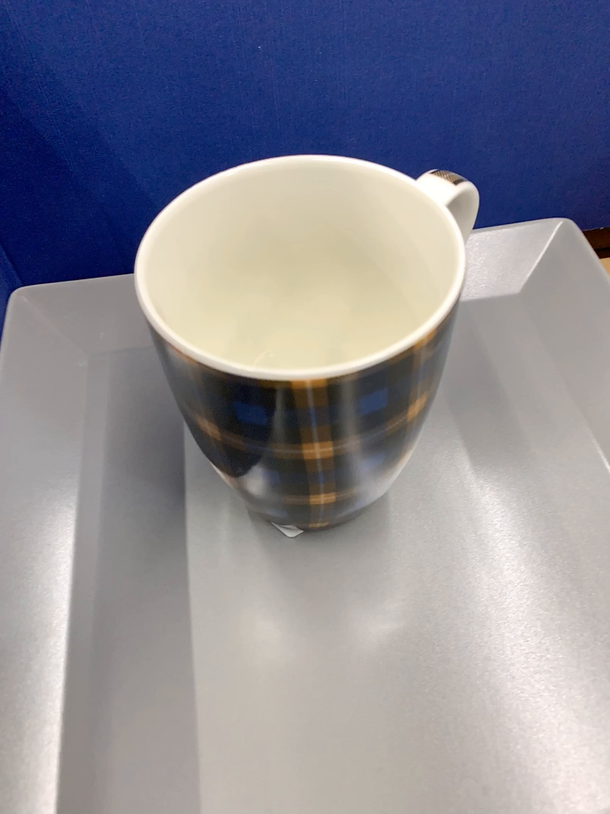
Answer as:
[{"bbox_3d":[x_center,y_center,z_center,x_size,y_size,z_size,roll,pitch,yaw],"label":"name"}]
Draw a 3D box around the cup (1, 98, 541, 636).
[{"bbox_3d":[0.000,-0.019,0.202,0.095,0.089,0.122,22,56,21],"label":"cup"}]
